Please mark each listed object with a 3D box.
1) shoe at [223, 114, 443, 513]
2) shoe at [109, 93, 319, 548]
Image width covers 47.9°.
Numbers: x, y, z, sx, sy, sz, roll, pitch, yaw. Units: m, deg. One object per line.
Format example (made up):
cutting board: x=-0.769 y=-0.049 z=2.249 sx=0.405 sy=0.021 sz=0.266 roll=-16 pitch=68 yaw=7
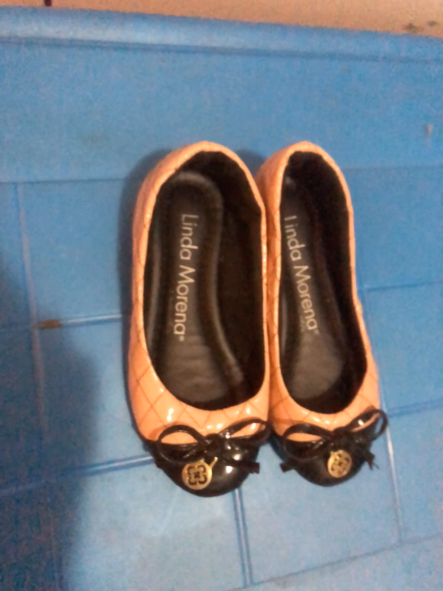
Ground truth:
shoe: x=0.057 y=0.007 z=0.285 sx=0.070 sy=0.080 sz=0.190 roll=-6 pitch=86 yaw=-17
shoe: x=-0.011 y=0.008 z=0.256 sx=0.070 sy=0.080 sz=0.190 roll=-5 pitch=86 yaw=-17
